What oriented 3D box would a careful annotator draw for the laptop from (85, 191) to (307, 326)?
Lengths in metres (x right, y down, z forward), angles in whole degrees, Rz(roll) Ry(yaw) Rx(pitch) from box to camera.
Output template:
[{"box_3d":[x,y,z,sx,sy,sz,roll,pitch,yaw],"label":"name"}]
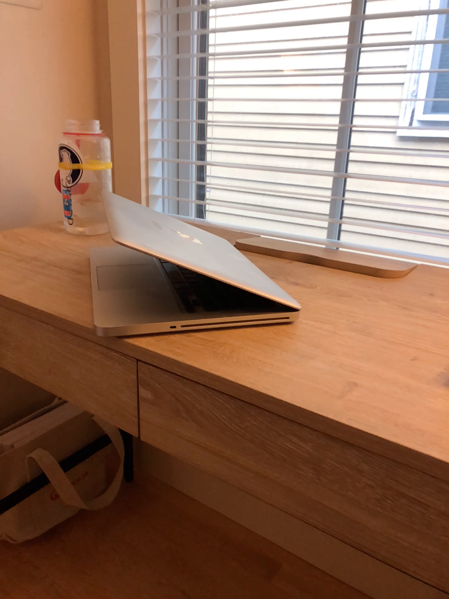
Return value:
[{"box_3d":[-0.062,-0.076,0.652,0.228,0.089,0.320,-3,20,-14],"label":"laptop"}]
